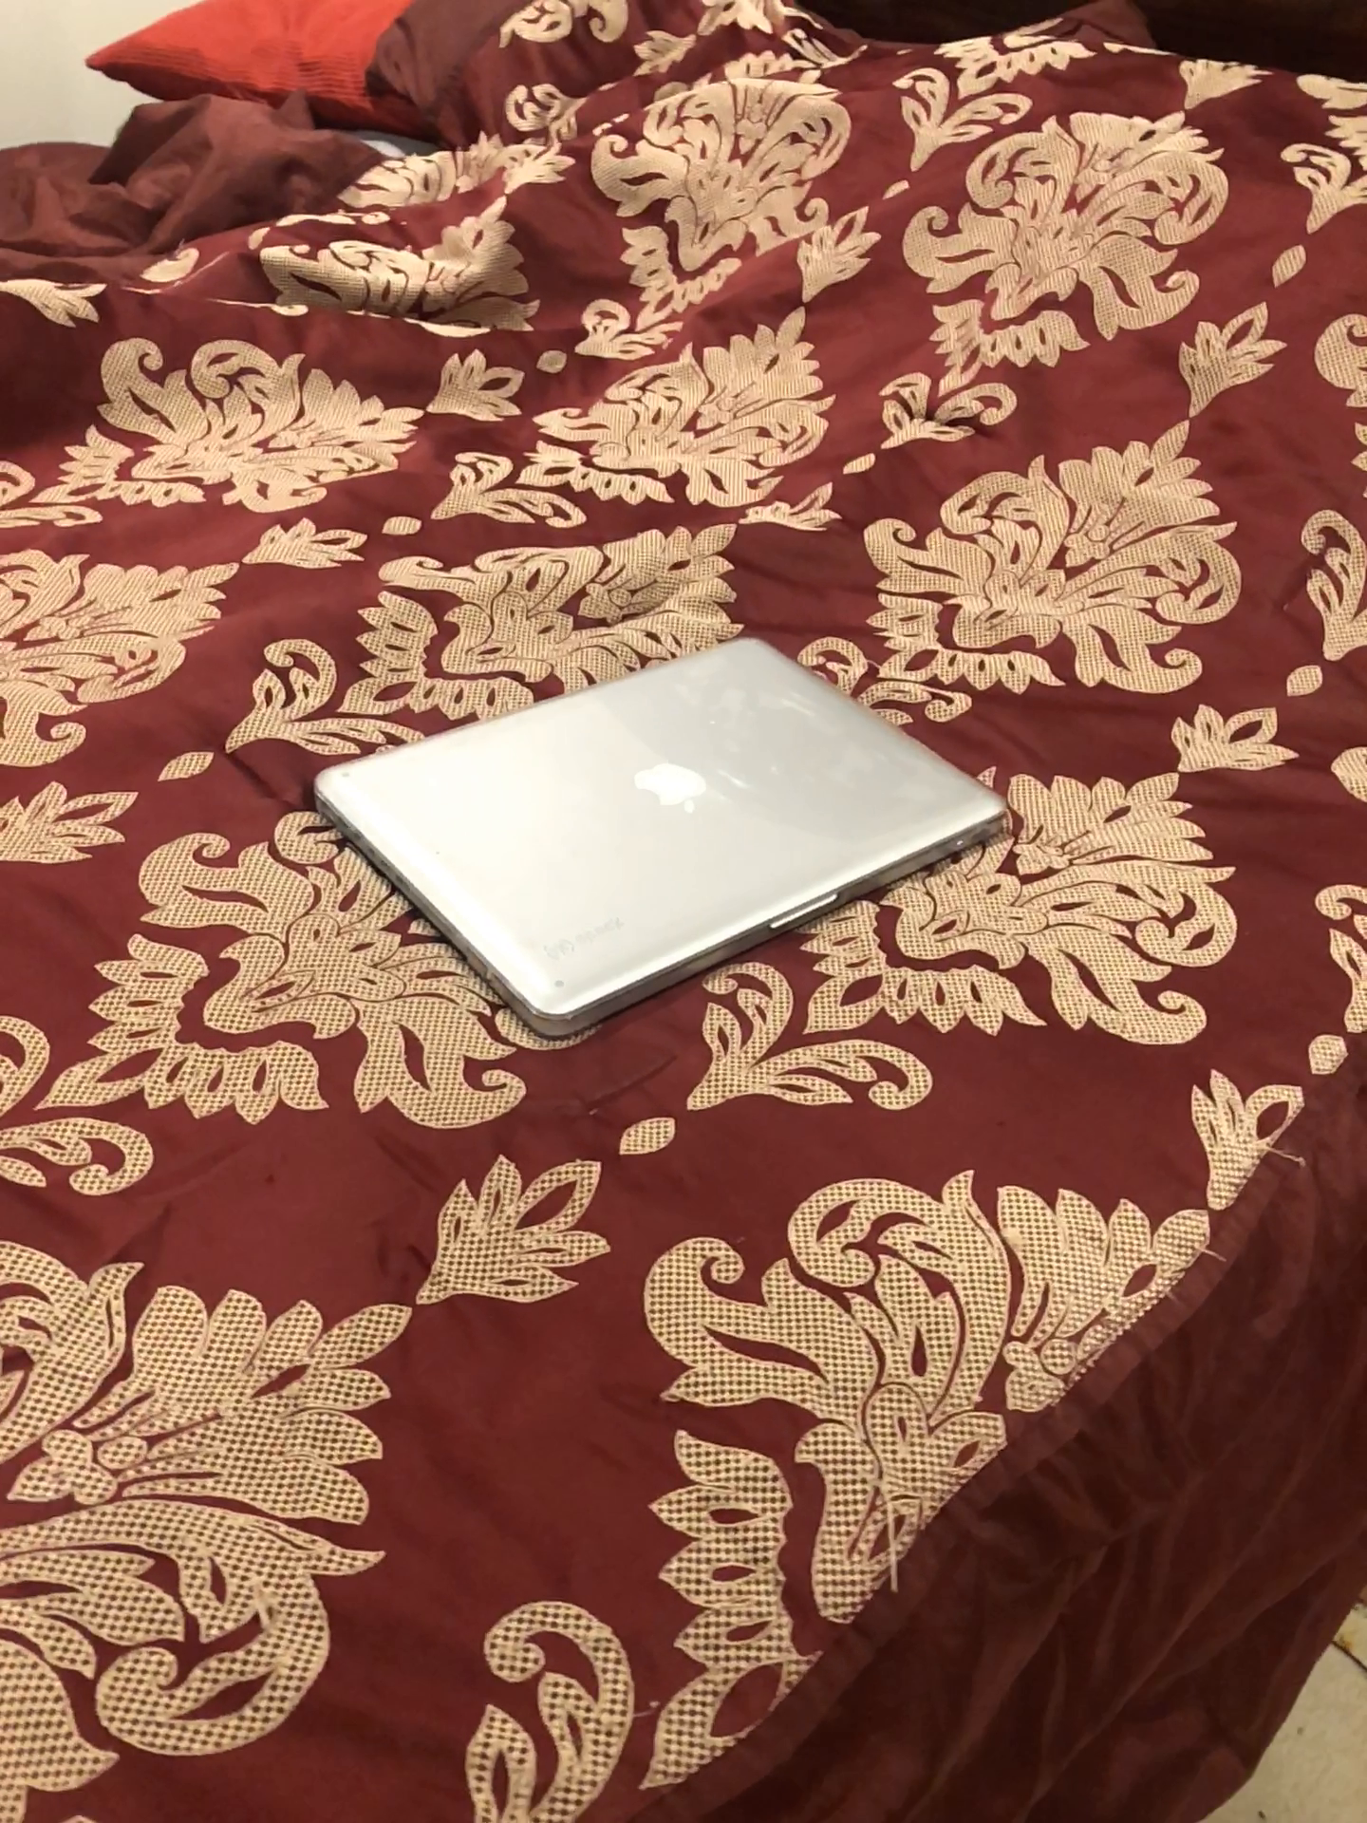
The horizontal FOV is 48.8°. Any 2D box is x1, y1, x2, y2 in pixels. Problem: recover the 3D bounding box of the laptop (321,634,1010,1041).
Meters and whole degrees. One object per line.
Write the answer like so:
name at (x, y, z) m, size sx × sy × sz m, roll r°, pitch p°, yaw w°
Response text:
laptop at (-0.005, -0.058, 0.806) m, size 0.304 × 0.015 × 0.208 m, roll -24°, pitch 49°, yaw -32°
